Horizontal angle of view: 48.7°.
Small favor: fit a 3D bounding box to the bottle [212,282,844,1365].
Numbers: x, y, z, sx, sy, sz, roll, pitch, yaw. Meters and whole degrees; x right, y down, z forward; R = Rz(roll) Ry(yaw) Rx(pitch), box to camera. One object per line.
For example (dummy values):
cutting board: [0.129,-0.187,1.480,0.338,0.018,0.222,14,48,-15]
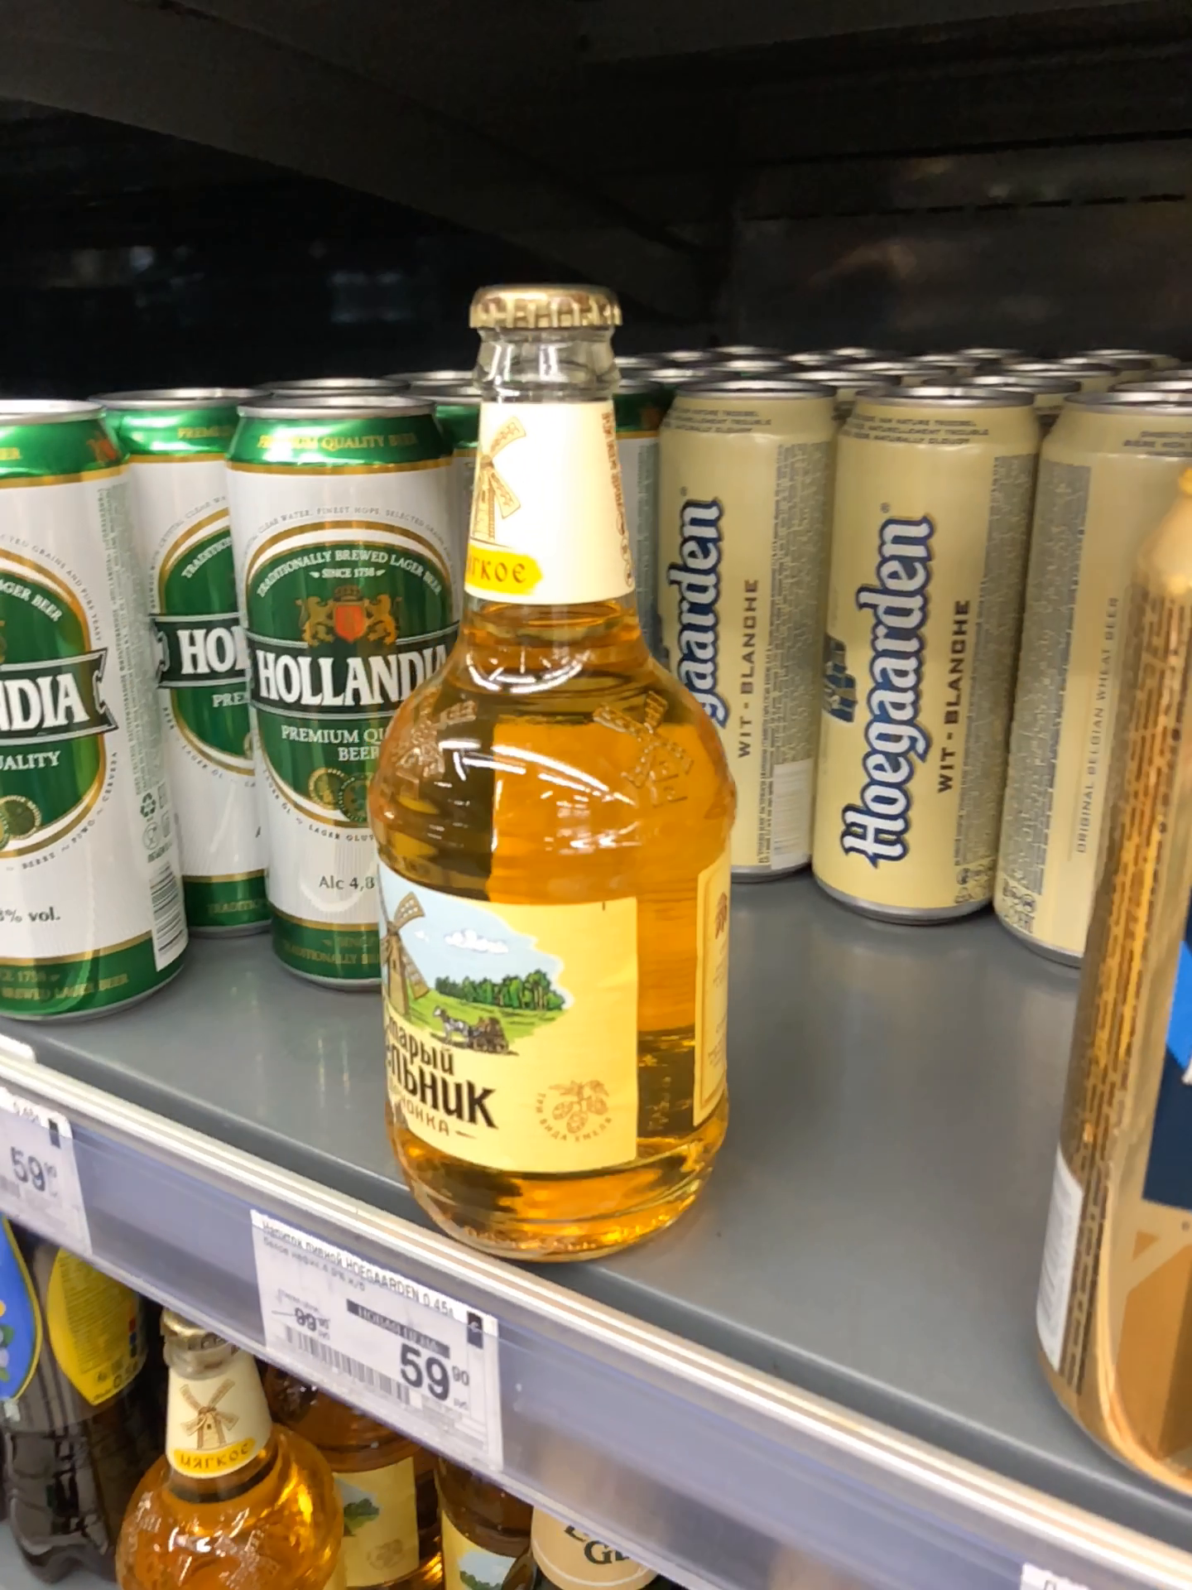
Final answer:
bottle: [-0.015,-0.003,0.275,0.080,0.193,0.090,-14,24,-33]
